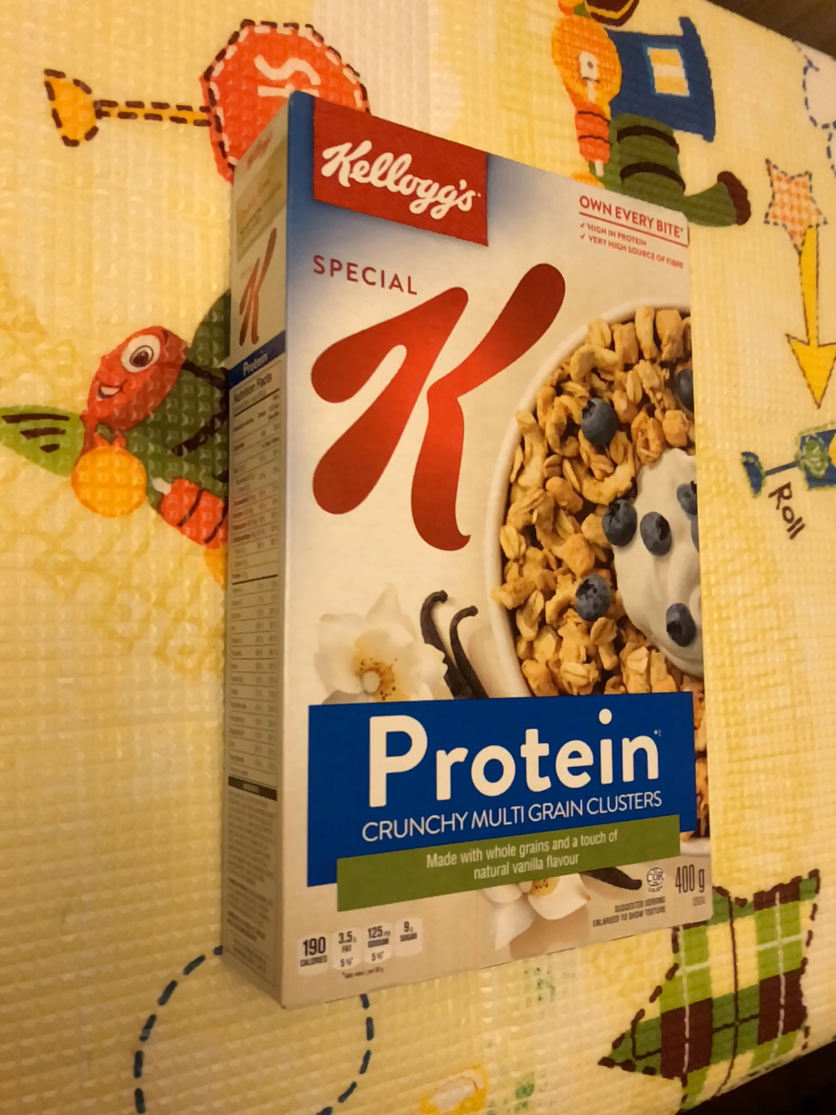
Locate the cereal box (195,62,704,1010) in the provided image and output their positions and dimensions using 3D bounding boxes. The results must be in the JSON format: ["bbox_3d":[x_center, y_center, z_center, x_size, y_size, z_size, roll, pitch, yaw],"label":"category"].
[{"bbox_3d":[0.018,-0.004,0.310,0.160,0.060,0.250,4,84,-33],"label":"cereal box"}]
